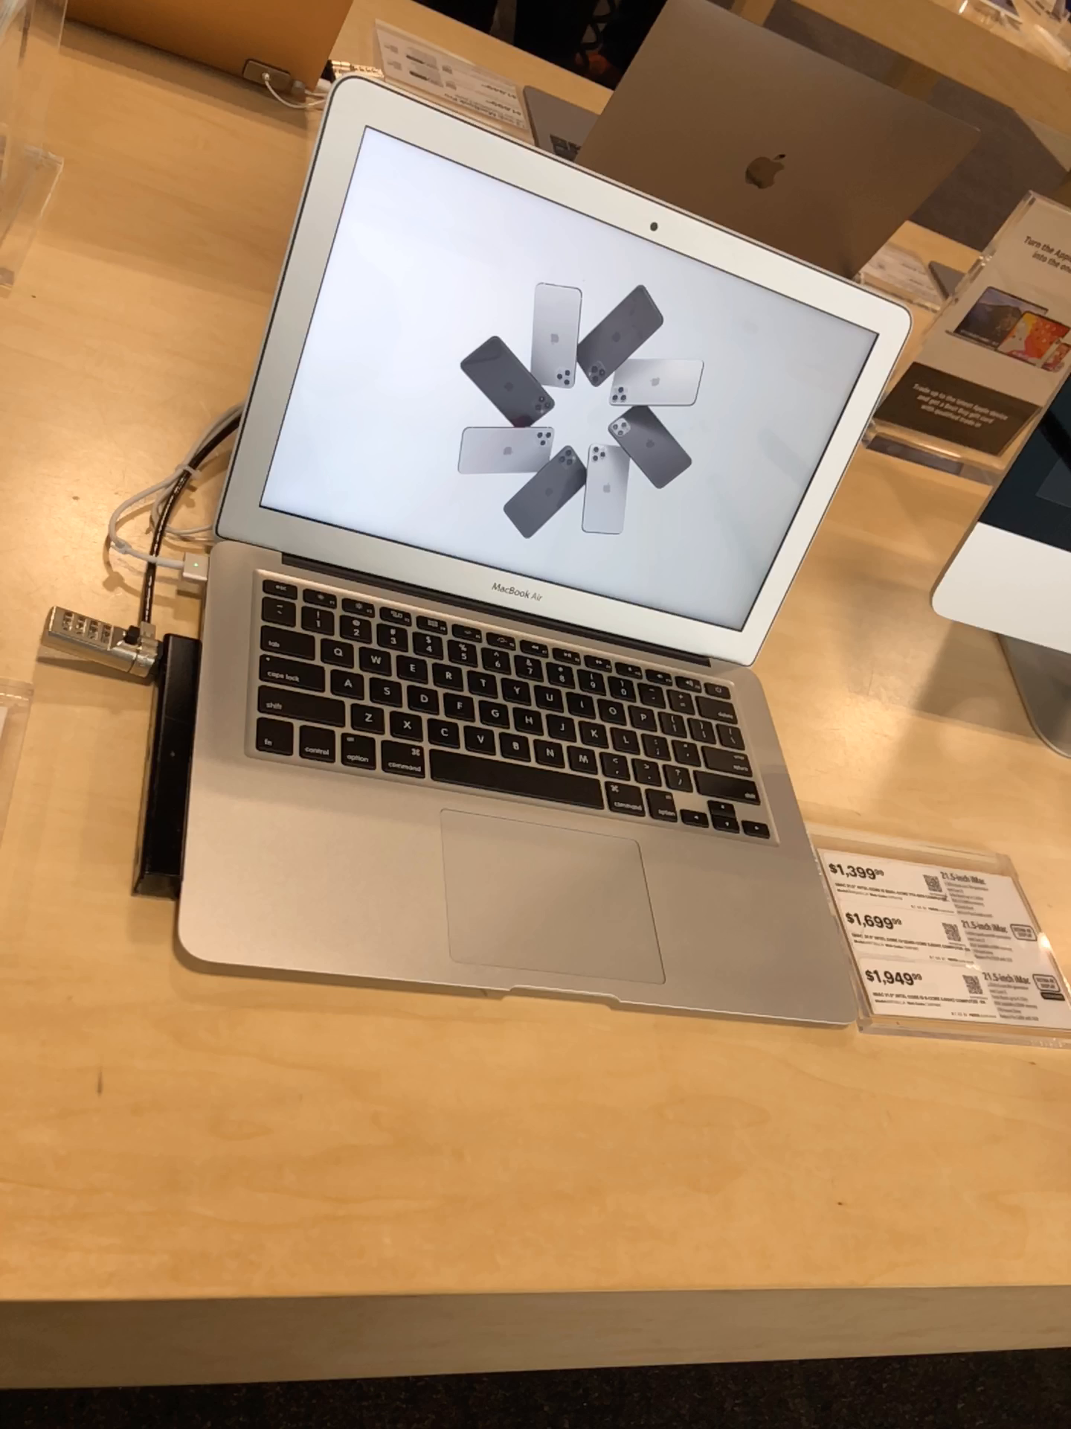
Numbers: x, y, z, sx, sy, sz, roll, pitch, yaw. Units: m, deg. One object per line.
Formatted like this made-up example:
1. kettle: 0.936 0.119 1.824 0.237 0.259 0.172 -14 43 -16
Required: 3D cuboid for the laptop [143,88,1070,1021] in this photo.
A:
1. laptop: 0.026 -0.063 0.537 0.324 0.202 0.310 11 47 -21
